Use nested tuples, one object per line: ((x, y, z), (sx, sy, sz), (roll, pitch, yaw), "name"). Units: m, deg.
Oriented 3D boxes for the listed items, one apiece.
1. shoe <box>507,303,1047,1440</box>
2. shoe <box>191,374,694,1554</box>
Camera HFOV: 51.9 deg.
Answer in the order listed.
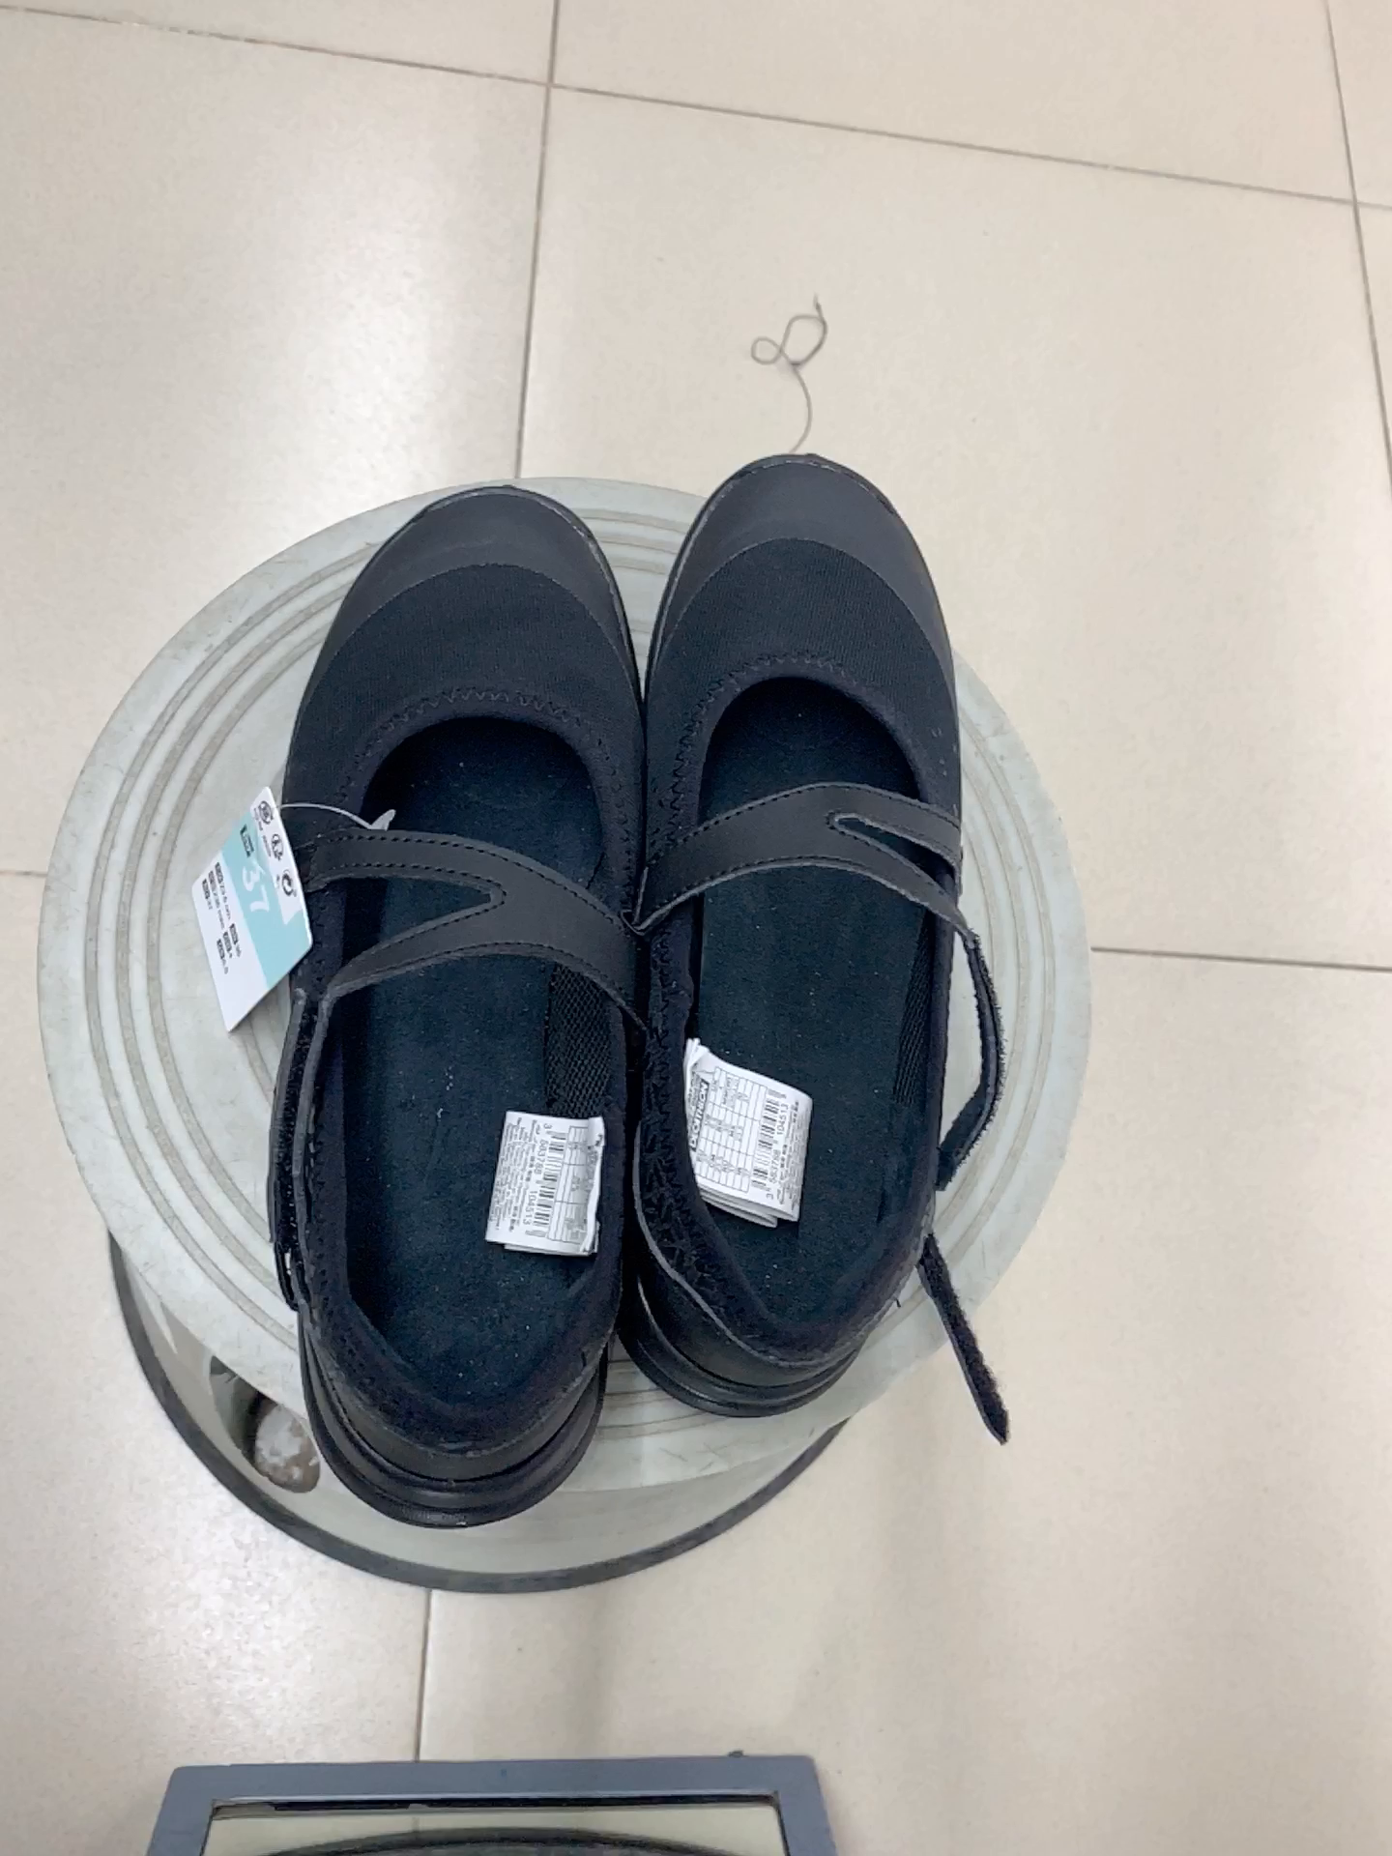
((0.021, -0.014, 0.348), (0.100, 0.080, 0.250), (7, 72, -6), "shoe")
((-0.052, 0.005, 0.335), (0.090, 0.080, 0.250), (2, 72, -8), "shoe")
